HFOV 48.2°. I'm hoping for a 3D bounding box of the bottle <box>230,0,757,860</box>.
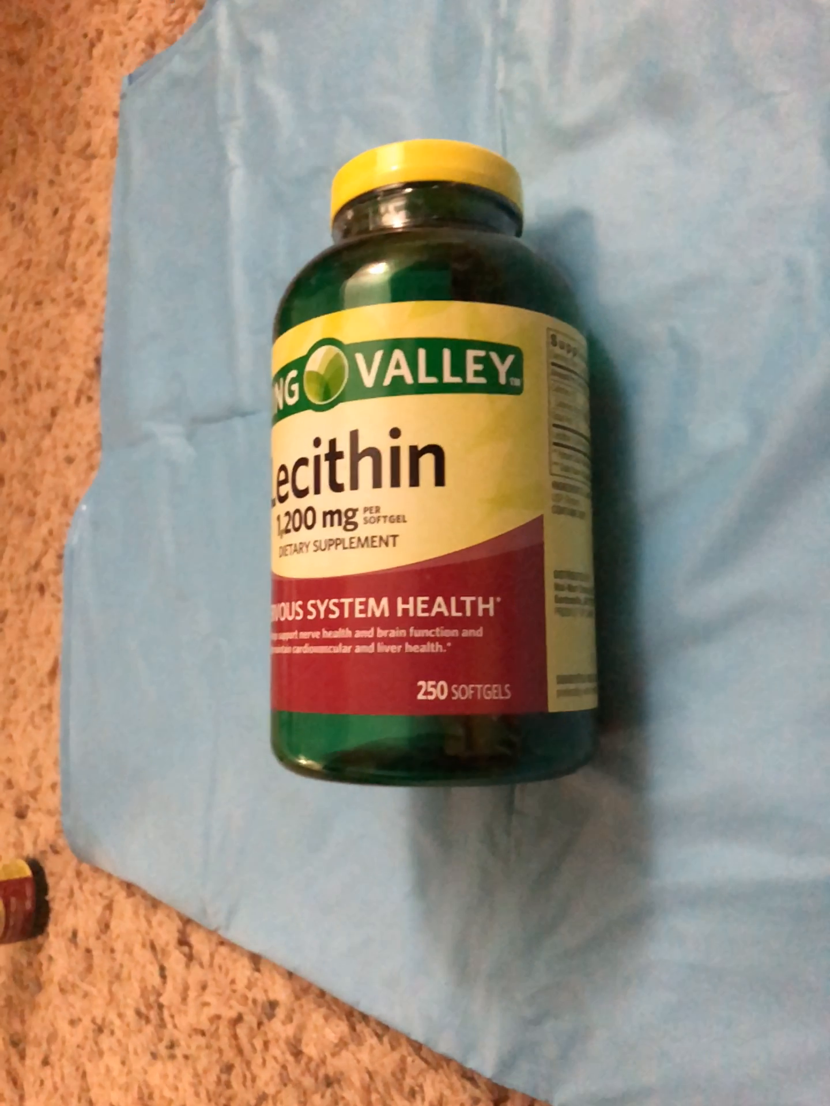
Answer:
[{"bbox_3d":[0.018,-0.022,0.245,0.101,0.090,0.170,-5,83,46],"label":"bottle"}]
